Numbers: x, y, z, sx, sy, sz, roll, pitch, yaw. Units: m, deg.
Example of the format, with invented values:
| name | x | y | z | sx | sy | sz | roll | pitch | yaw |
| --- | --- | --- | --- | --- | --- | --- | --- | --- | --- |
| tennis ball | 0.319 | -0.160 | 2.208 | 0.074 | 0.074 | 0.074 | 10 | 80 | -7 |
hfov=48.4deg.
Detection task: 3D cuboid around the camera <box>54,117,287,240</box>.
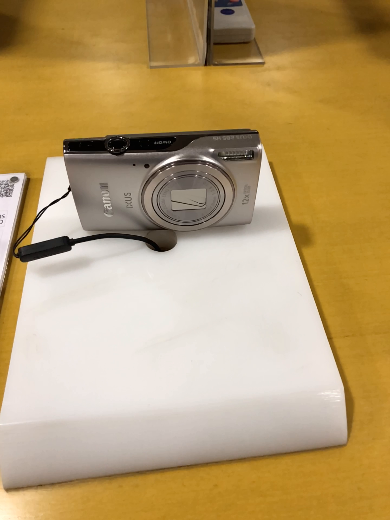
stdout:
| name | x | y | z | sx | sy | sz | roll | pitch | yaw |
| --- | --- | --- | --- | --- | --- | --- | --- | --- | --- |
| camera | -0.012 | -0.042 | 0.234 | 0.110 | 0.060 | 0.020 | -4 | 50 | -4 |
